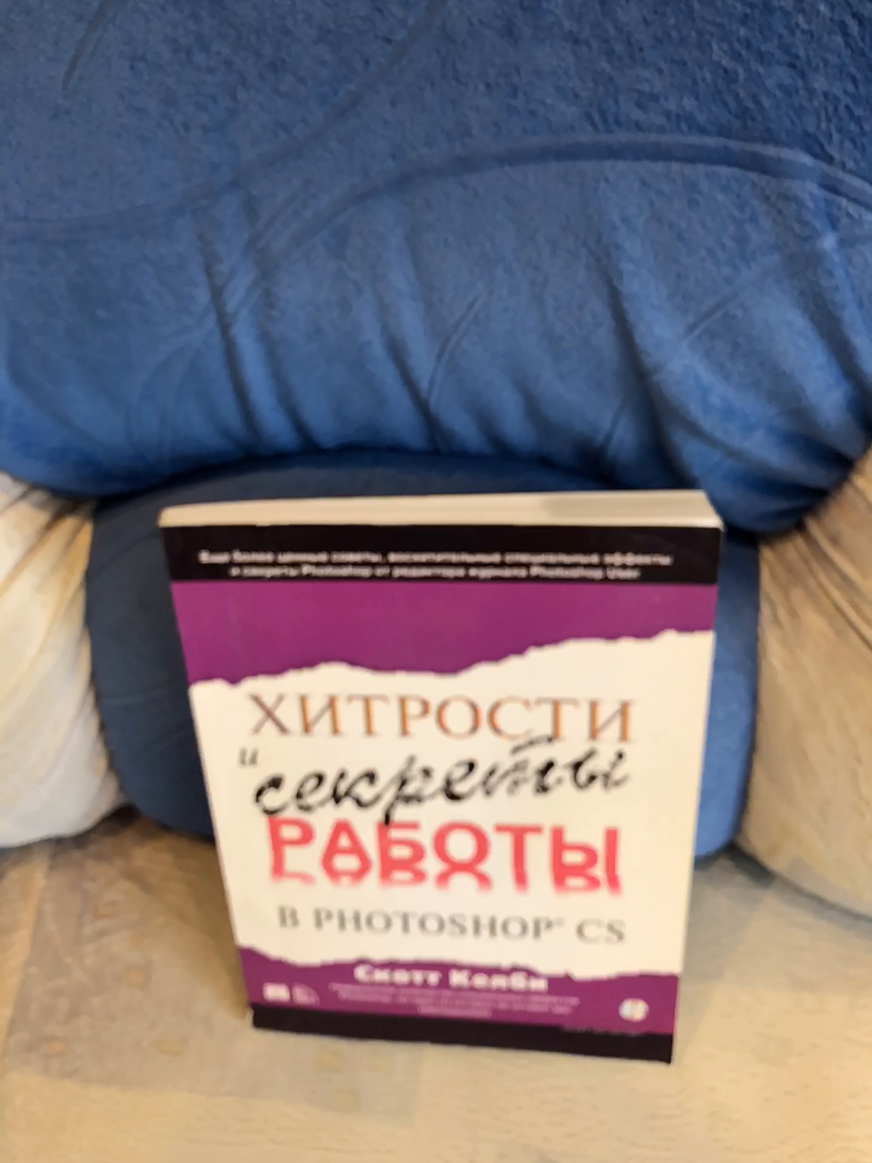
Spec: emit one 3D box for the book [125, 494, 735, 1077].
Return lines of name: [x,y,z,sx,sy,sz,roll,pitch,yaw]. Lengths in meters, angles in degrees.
book: [0.002,0.095,0.407,0.209,0.270,0.030,1,28,8]
